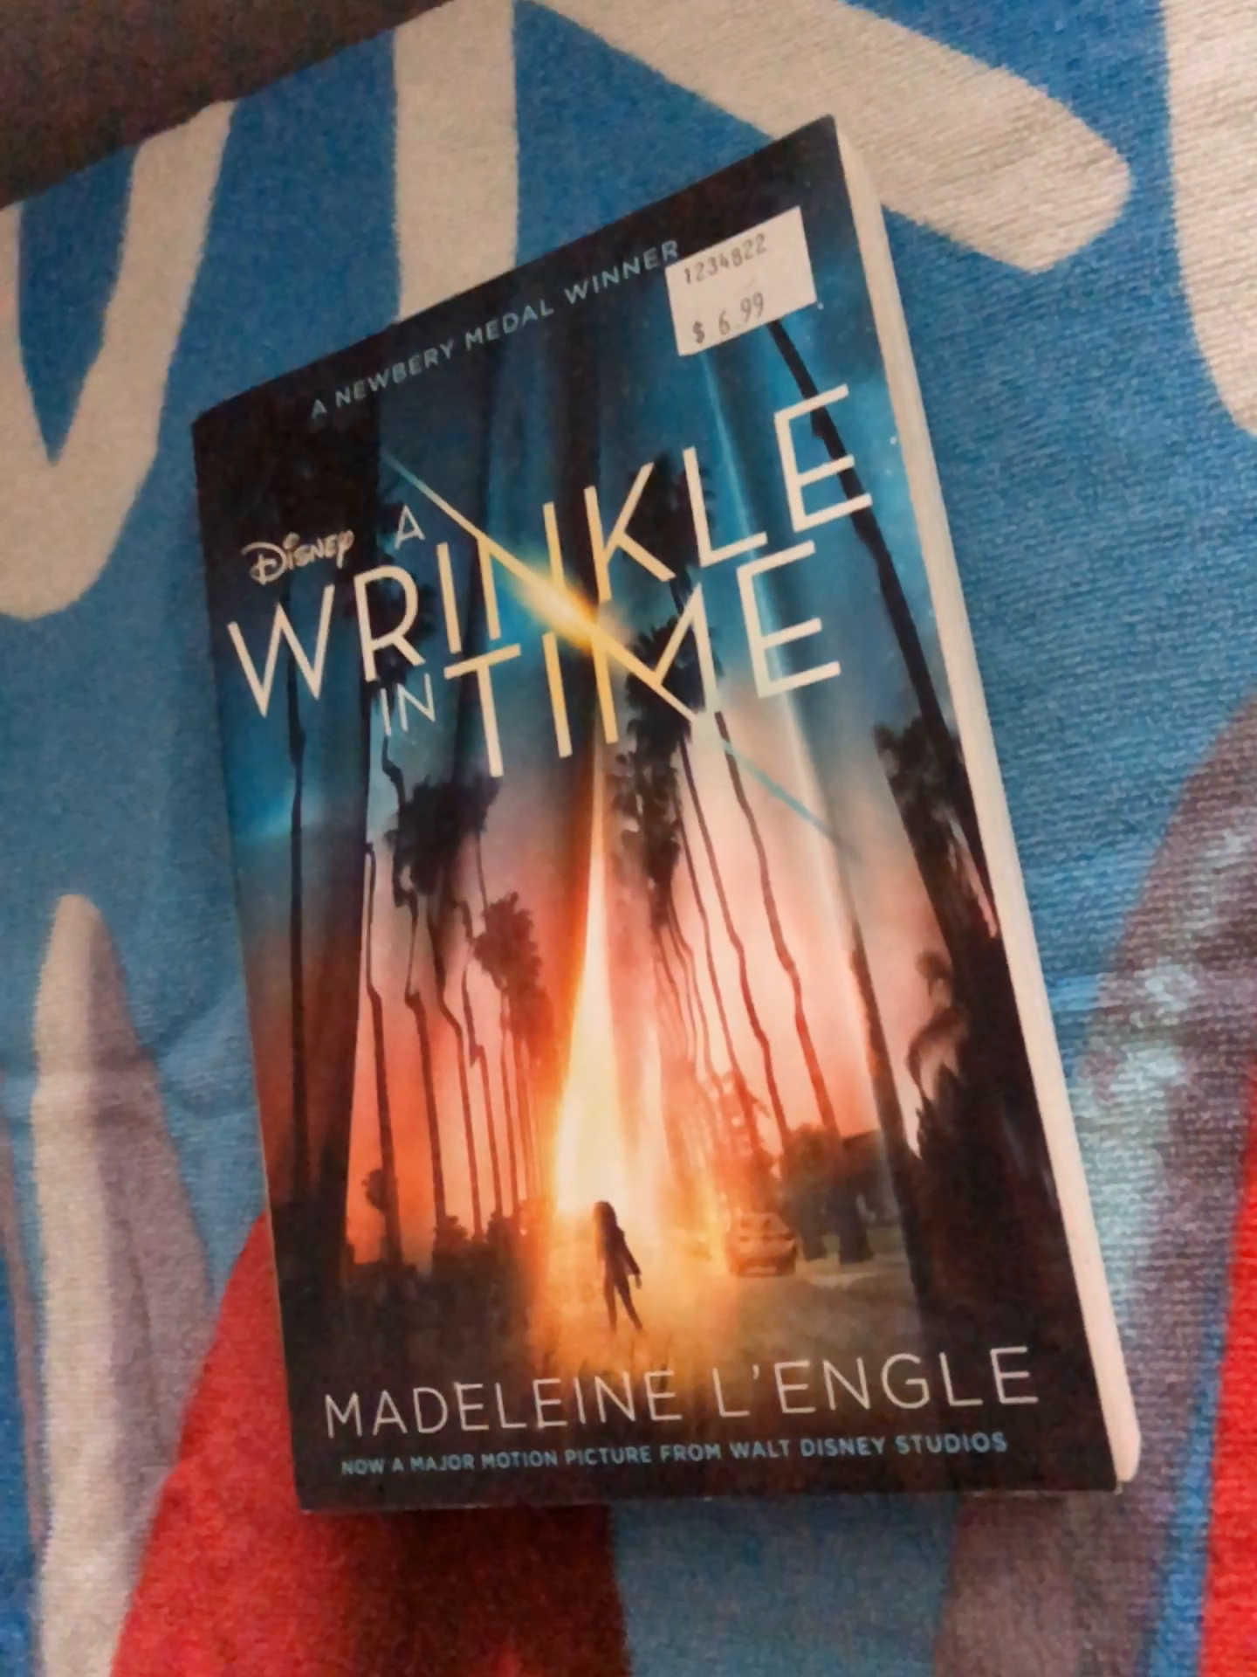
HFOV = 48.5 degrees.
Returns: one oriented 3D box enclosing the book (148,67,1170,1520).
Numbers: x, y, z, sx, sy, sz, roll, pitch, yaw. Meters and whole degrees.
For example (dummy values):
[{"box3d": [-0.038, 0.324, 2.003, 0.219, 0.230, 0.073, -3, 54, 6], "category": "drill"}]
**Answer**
[{"box3d": [-0.007, 0.001, 0.226, 0.138, 0.031, 0.195, -13, 80, 26], "category": "book"}]
